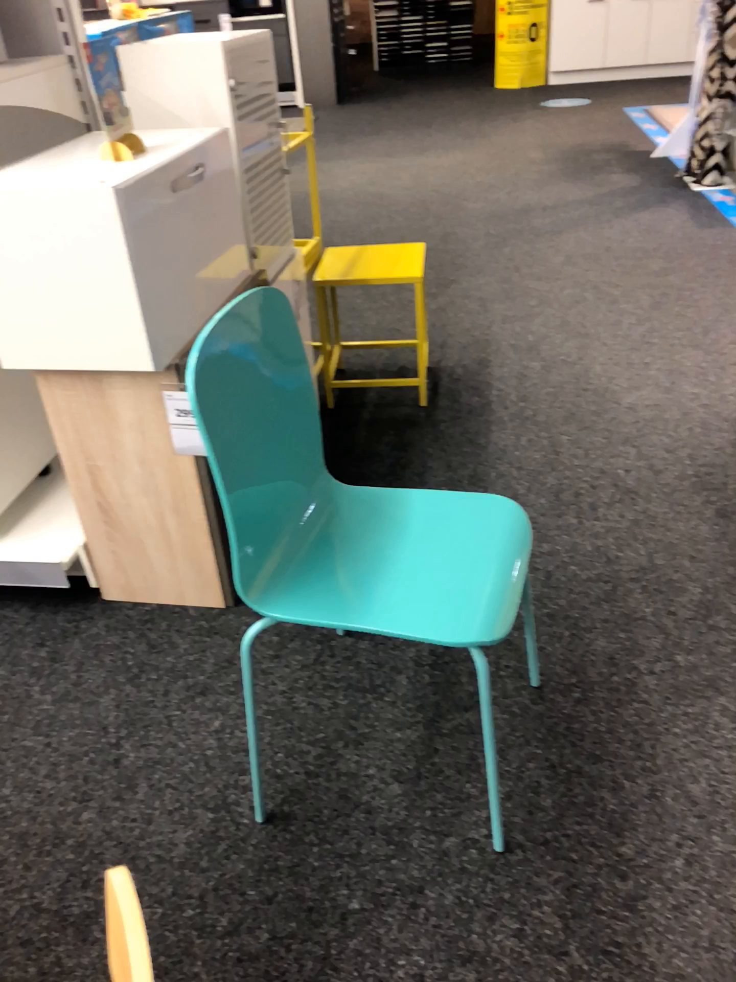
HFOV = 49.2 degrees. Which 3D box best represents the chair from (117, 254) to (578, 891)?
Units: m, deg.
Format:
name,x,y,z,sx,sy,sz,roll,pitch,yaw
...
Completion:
name,x,y,z,sx,sy,sz,roll,pitch,yaw
chair,0.042,0.121,1.325,0.500,0.865,0.493,6,34,17
